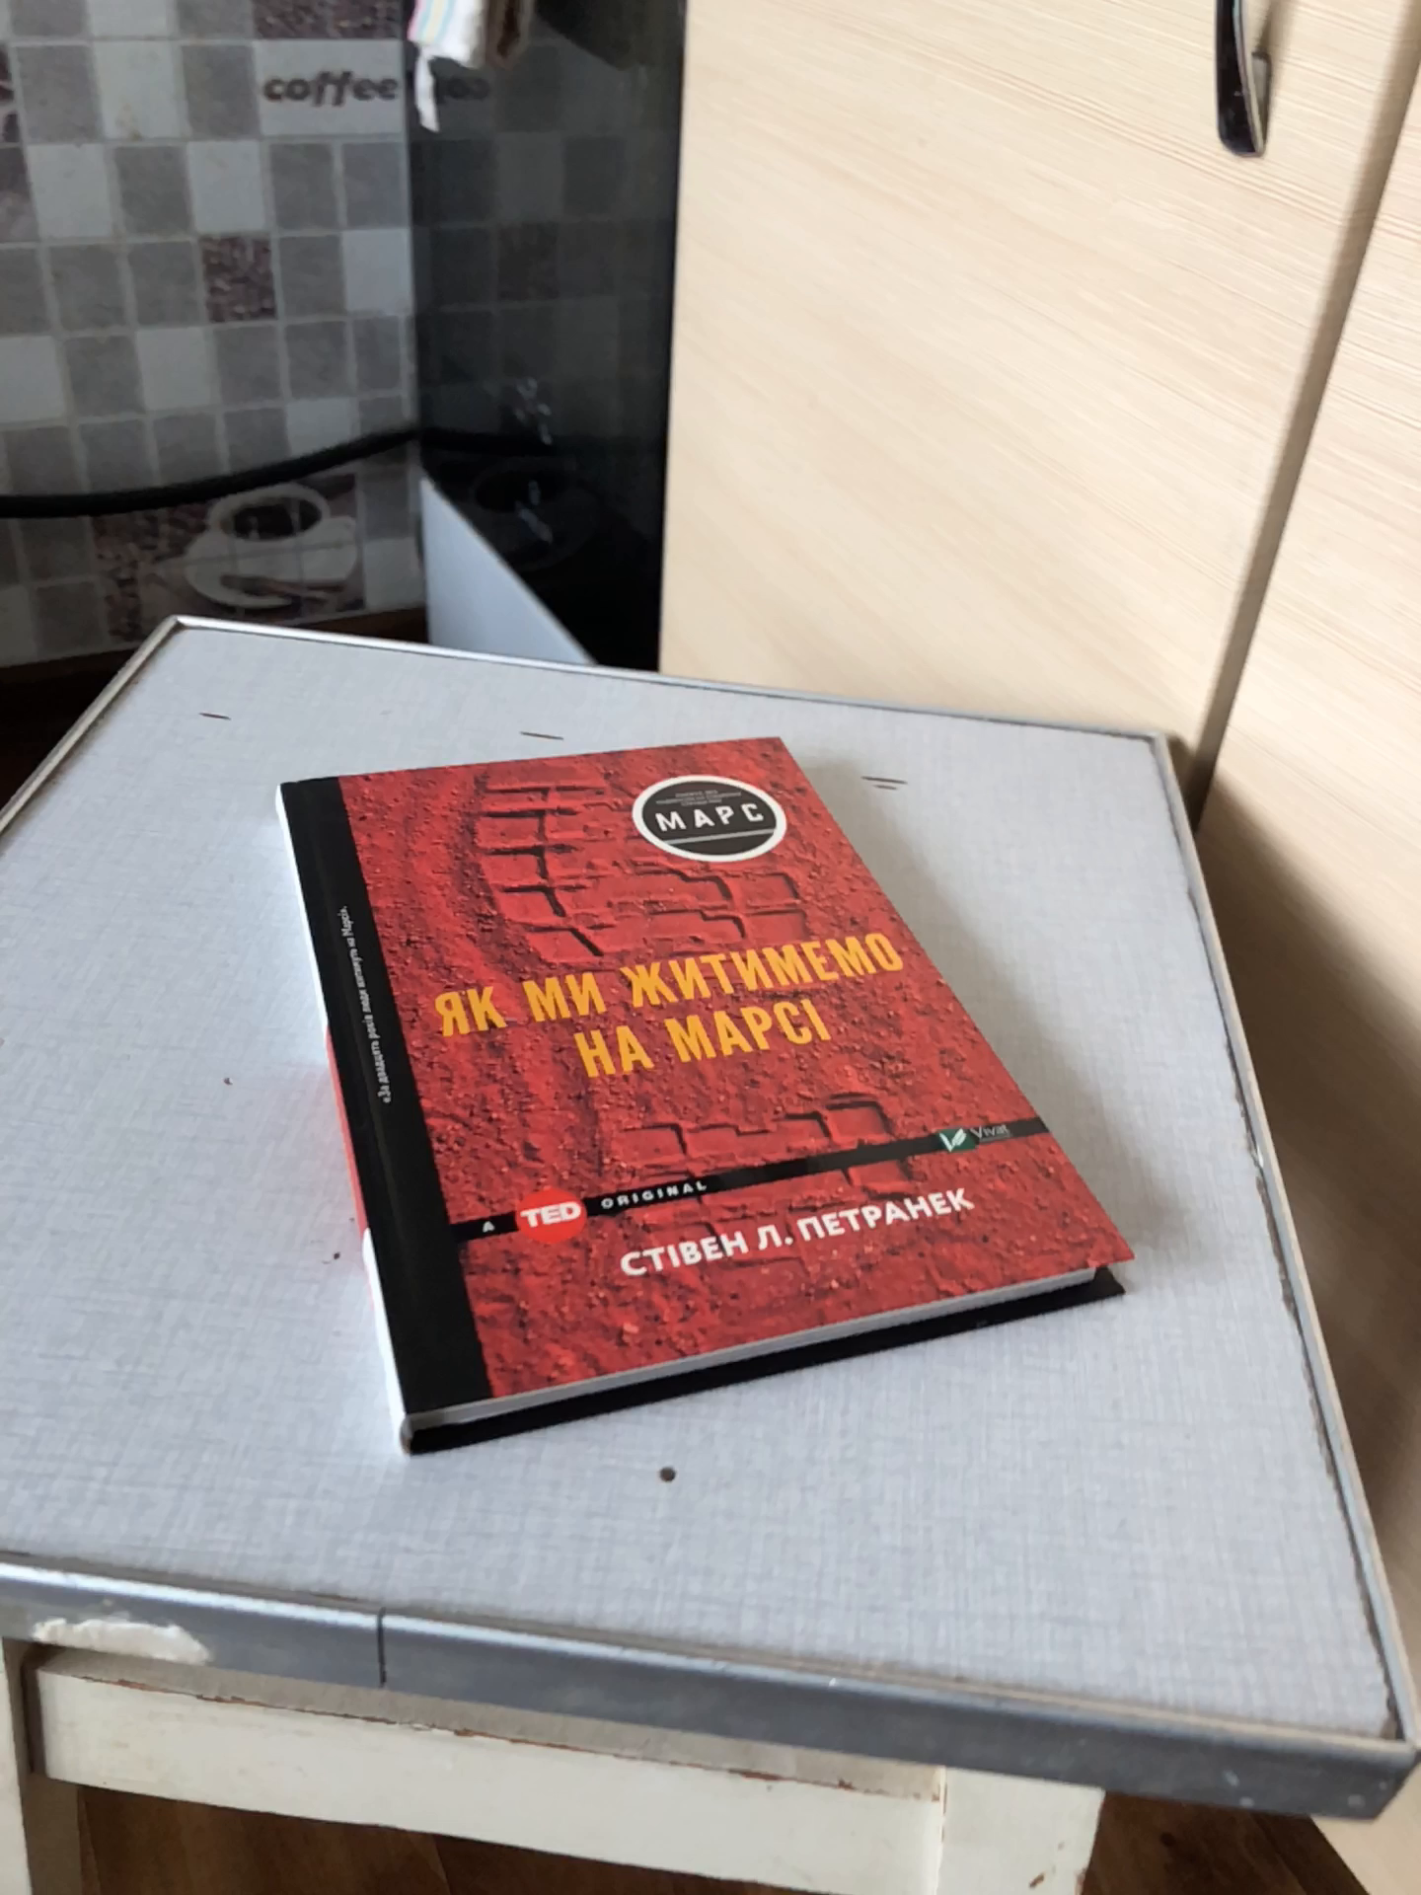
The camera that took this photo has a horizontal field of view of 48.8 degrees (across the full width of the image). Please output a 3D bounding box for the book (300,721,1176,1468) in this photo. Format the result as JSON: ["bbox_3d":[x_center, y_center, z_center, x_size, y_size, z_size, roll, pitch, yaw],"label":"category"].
[{"bbox_3d":[-0.011,0.012,0.370,0.146,0.015,0.215,-8,39,-16],"label":"book"}]
